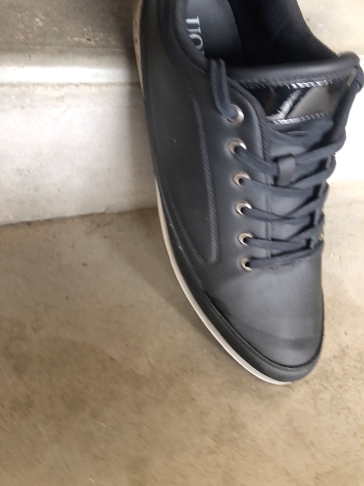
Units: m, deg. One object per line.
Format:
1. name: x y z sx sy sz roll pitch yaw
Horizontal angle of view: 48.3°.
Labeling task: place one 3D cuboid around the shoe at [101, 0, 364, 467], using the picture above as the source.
1. shoe: 0.050 -0.043 0.264 0.131 0.090 0.290 -12 91 -25
